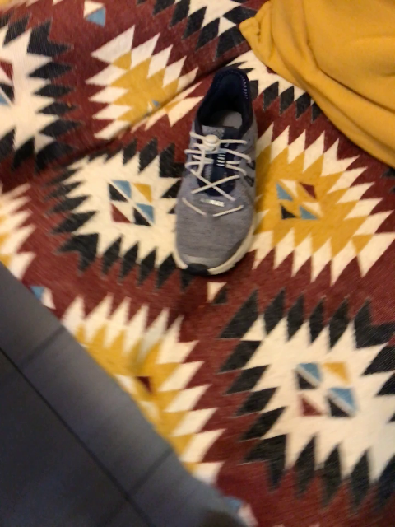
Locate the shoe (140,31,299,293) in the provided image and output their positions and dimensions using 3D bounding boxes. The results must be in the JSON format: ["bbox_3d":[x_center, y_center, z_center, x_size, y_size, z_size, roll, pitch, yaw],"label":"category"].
[{"bbox_3d":[0.023,-0.093,0.392,0.094,0.074,0.212,12,70,2],"label":"shoe"}]
